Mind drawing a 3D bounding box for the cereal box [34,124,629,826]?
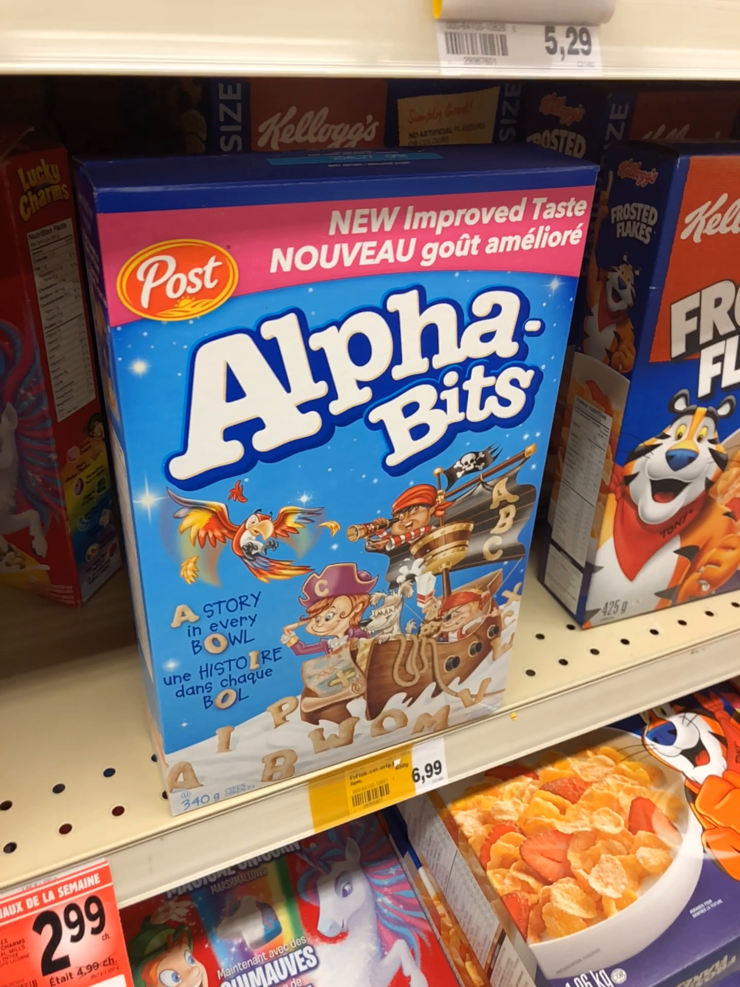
[{"bbox_3d":[-0.018,0.001,0.368,0.200,0.298,0.060,-11,37,-22],"label":"cereal box"}]
